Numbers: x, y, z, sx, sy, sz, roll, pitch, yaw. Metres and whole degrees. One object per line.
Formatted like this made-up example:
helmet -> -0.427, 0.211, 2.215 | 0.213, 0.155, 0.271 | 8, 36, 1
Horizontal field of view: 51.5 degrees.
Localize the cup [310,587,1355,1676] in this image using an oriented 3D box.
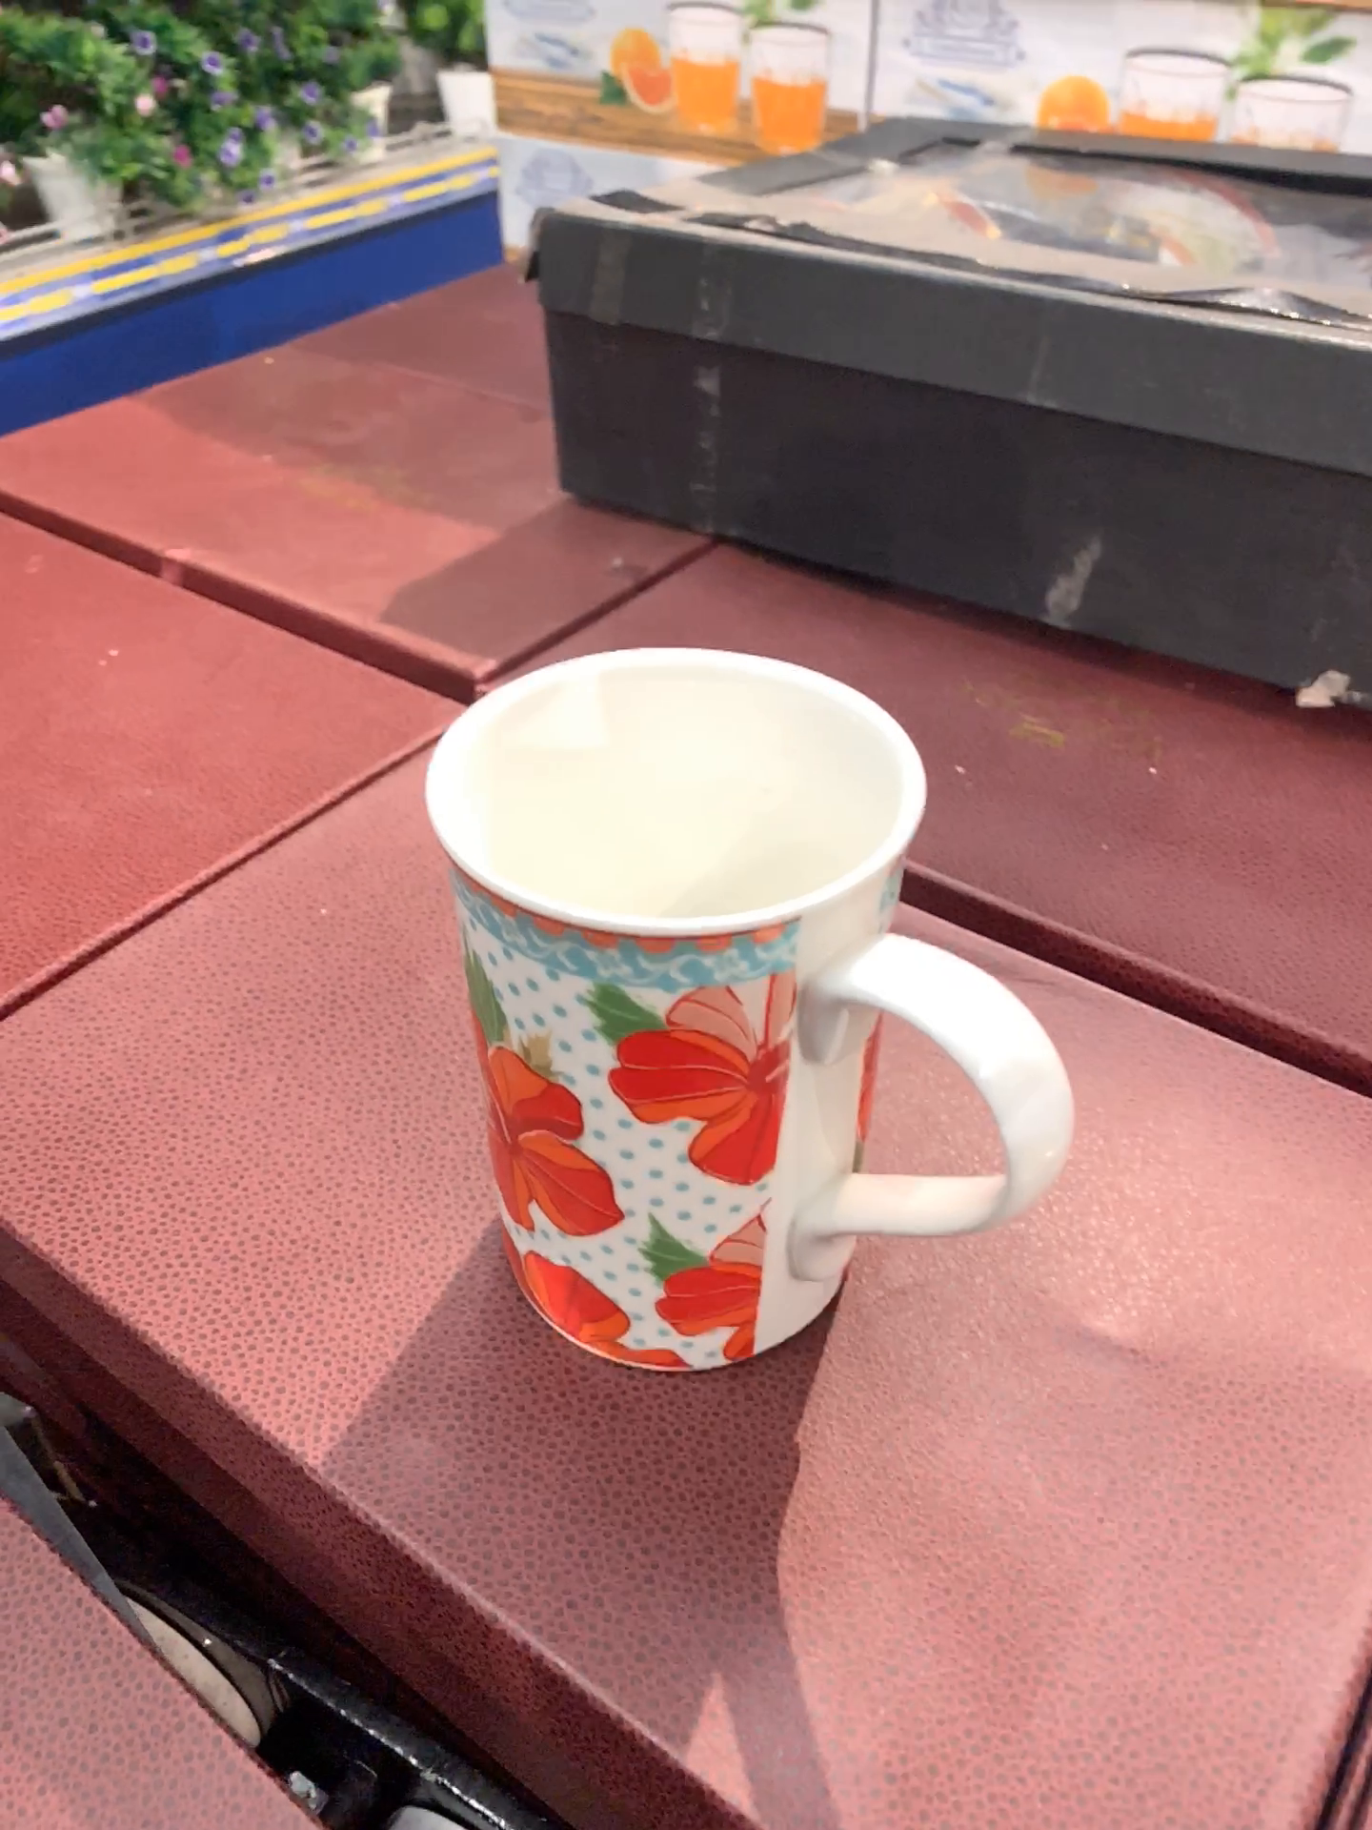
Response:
cup -> 0.019, 0.028, 0.231 | 0.120, 0.109, 0.080 | 26, 46, 29
